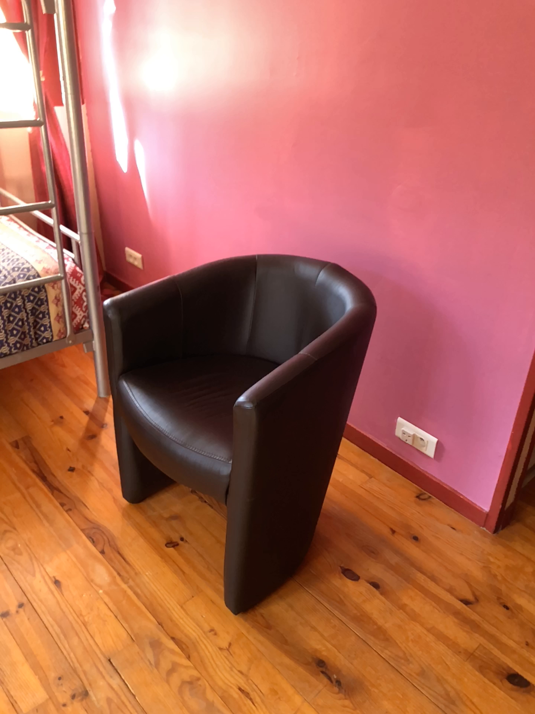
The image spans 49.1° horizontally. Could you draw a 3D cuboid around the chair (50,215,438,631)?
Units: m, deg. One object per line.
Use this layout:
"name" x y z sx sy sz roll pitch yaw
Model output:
"chair" -0.073 0.086 1.495 0.593 0.646 0.670 -24 39 -37
